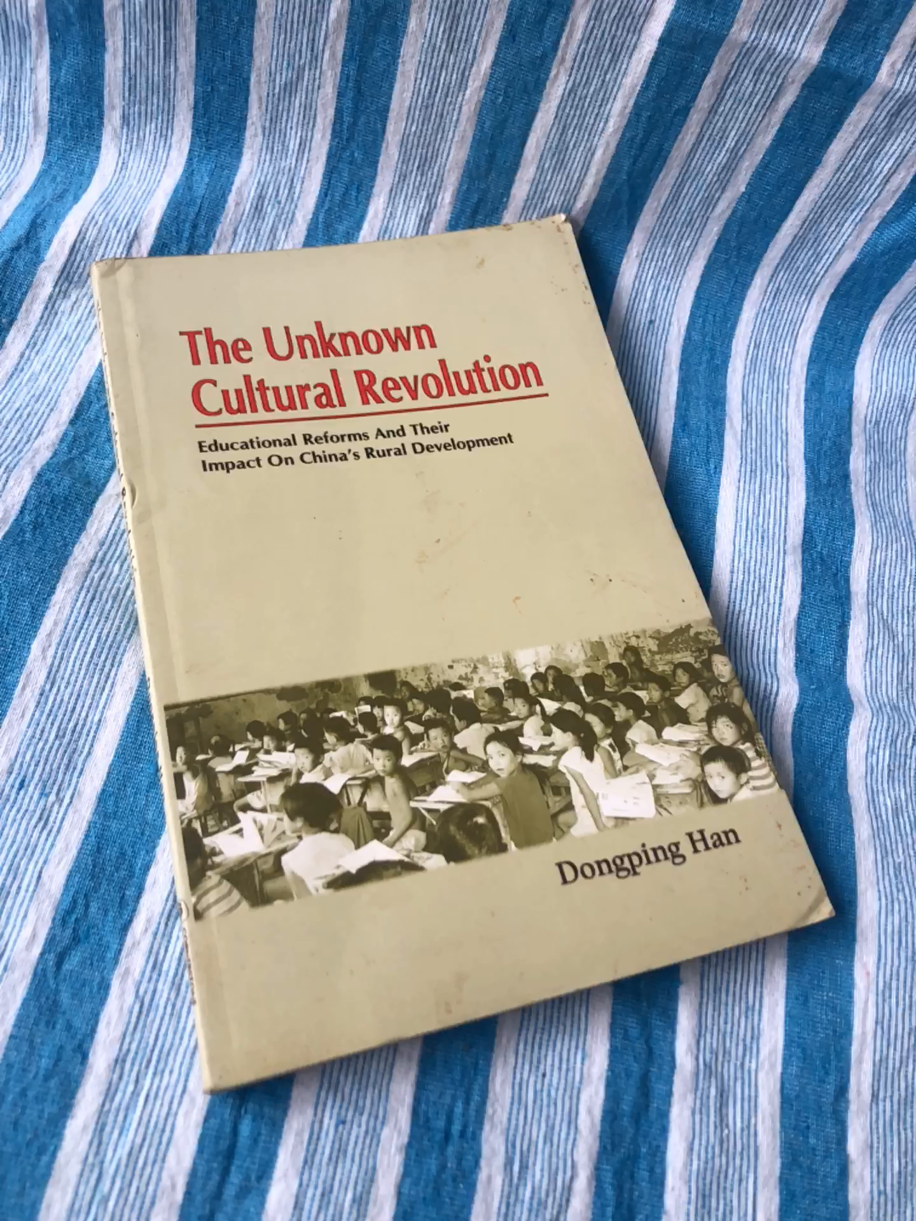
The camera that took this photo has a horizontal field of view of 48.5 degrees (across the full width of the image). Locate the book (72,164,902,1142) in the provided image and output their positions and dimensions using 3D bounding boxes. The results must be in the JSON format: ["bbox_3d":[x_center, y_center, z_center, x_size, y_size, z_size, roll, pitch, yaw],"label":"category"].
[{"bbox_3d":[-0.011,-0.017,0.246,0.140,0.020,0.230,-11,62,-10],"label":"book"}]
